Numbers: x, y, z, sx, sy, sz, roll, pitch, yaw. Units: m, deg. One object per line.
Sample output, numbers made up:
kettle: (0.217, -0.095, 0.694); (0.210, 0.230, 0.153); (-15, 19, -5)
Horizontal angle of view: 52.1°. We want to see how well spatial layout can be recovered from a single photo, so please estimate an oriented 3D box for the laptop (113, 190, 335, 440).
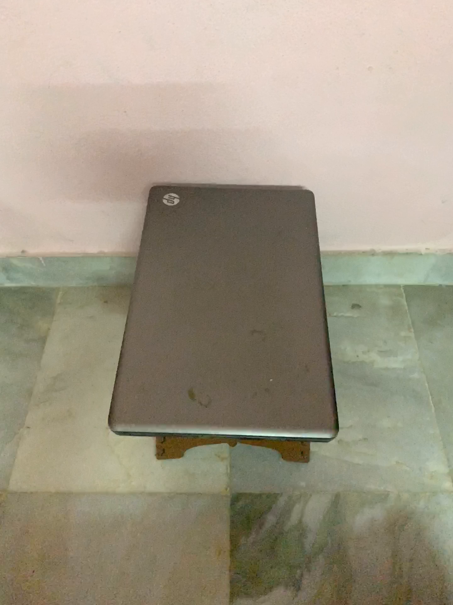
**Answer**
laptop: (0.003, -0.012, 0.610); (0.242, 0.003, 0.380); (2, 56, 1)
